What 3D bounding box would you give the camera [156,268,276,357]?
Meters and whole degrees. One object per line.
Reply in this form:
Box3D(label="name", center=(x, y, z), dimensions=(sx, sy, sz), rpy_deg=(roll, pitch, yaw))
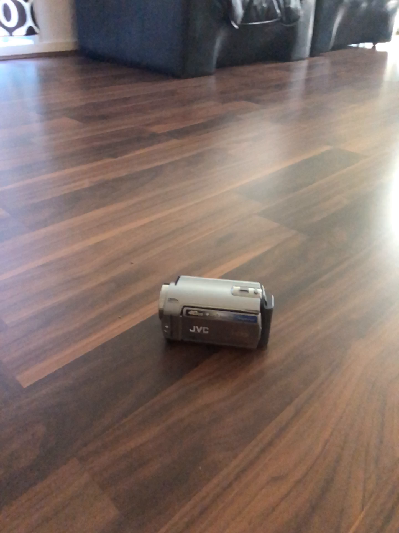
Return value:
Box3D(label="camera", center=(0.019, 0.049, 0.480), dimensions=(0.120, 0.060, 0.060), rpy_deg=(5, 32, 8))
